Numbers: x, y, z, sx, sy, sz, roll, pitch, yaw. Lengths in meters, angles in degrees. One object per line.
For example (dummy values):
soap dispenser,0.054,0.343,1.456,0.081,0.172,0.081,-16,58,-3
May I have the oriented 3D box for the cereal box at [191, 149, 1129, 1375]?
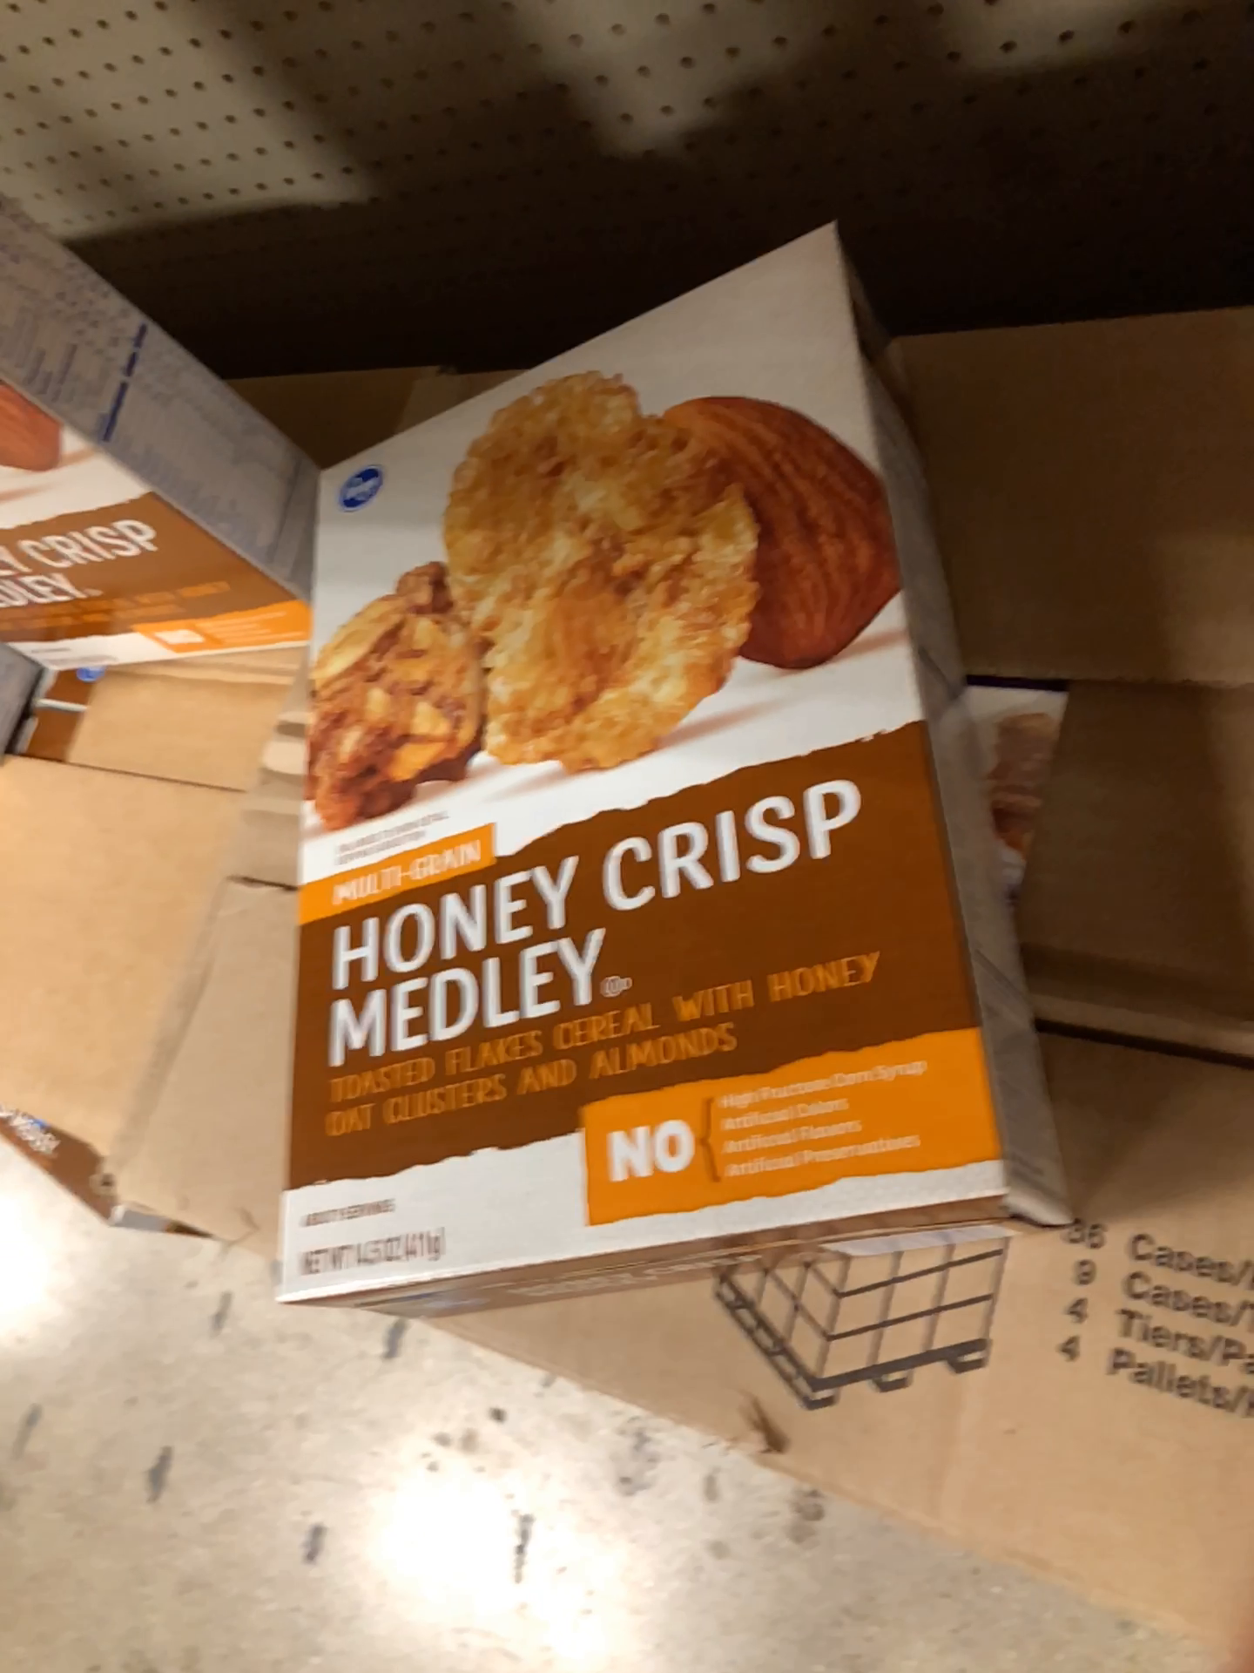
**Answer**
cereal box,-0.008,-0.016,0.360,0.200,0.060,0.270,-17,62,25
